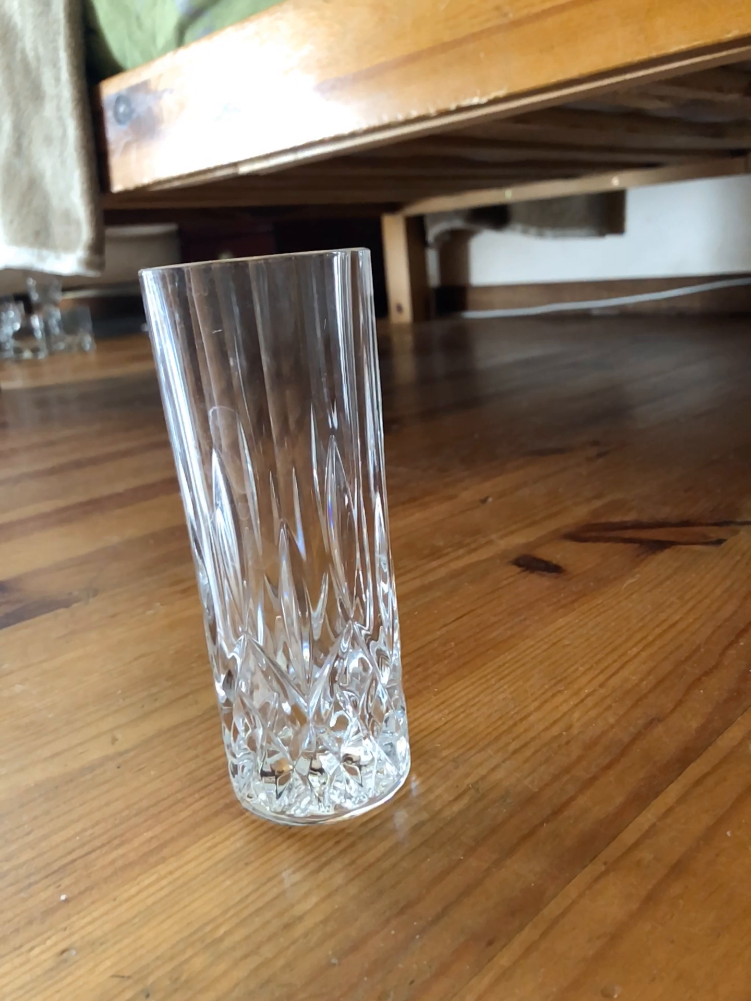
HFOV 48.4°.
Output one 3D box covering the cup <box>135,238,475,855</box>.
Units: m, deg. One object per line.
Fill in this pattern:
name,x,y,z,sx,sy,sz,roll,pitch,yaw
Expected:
cup,-0.016,0.009,0.225,0.064,0.145,0.059,-5,16,1
